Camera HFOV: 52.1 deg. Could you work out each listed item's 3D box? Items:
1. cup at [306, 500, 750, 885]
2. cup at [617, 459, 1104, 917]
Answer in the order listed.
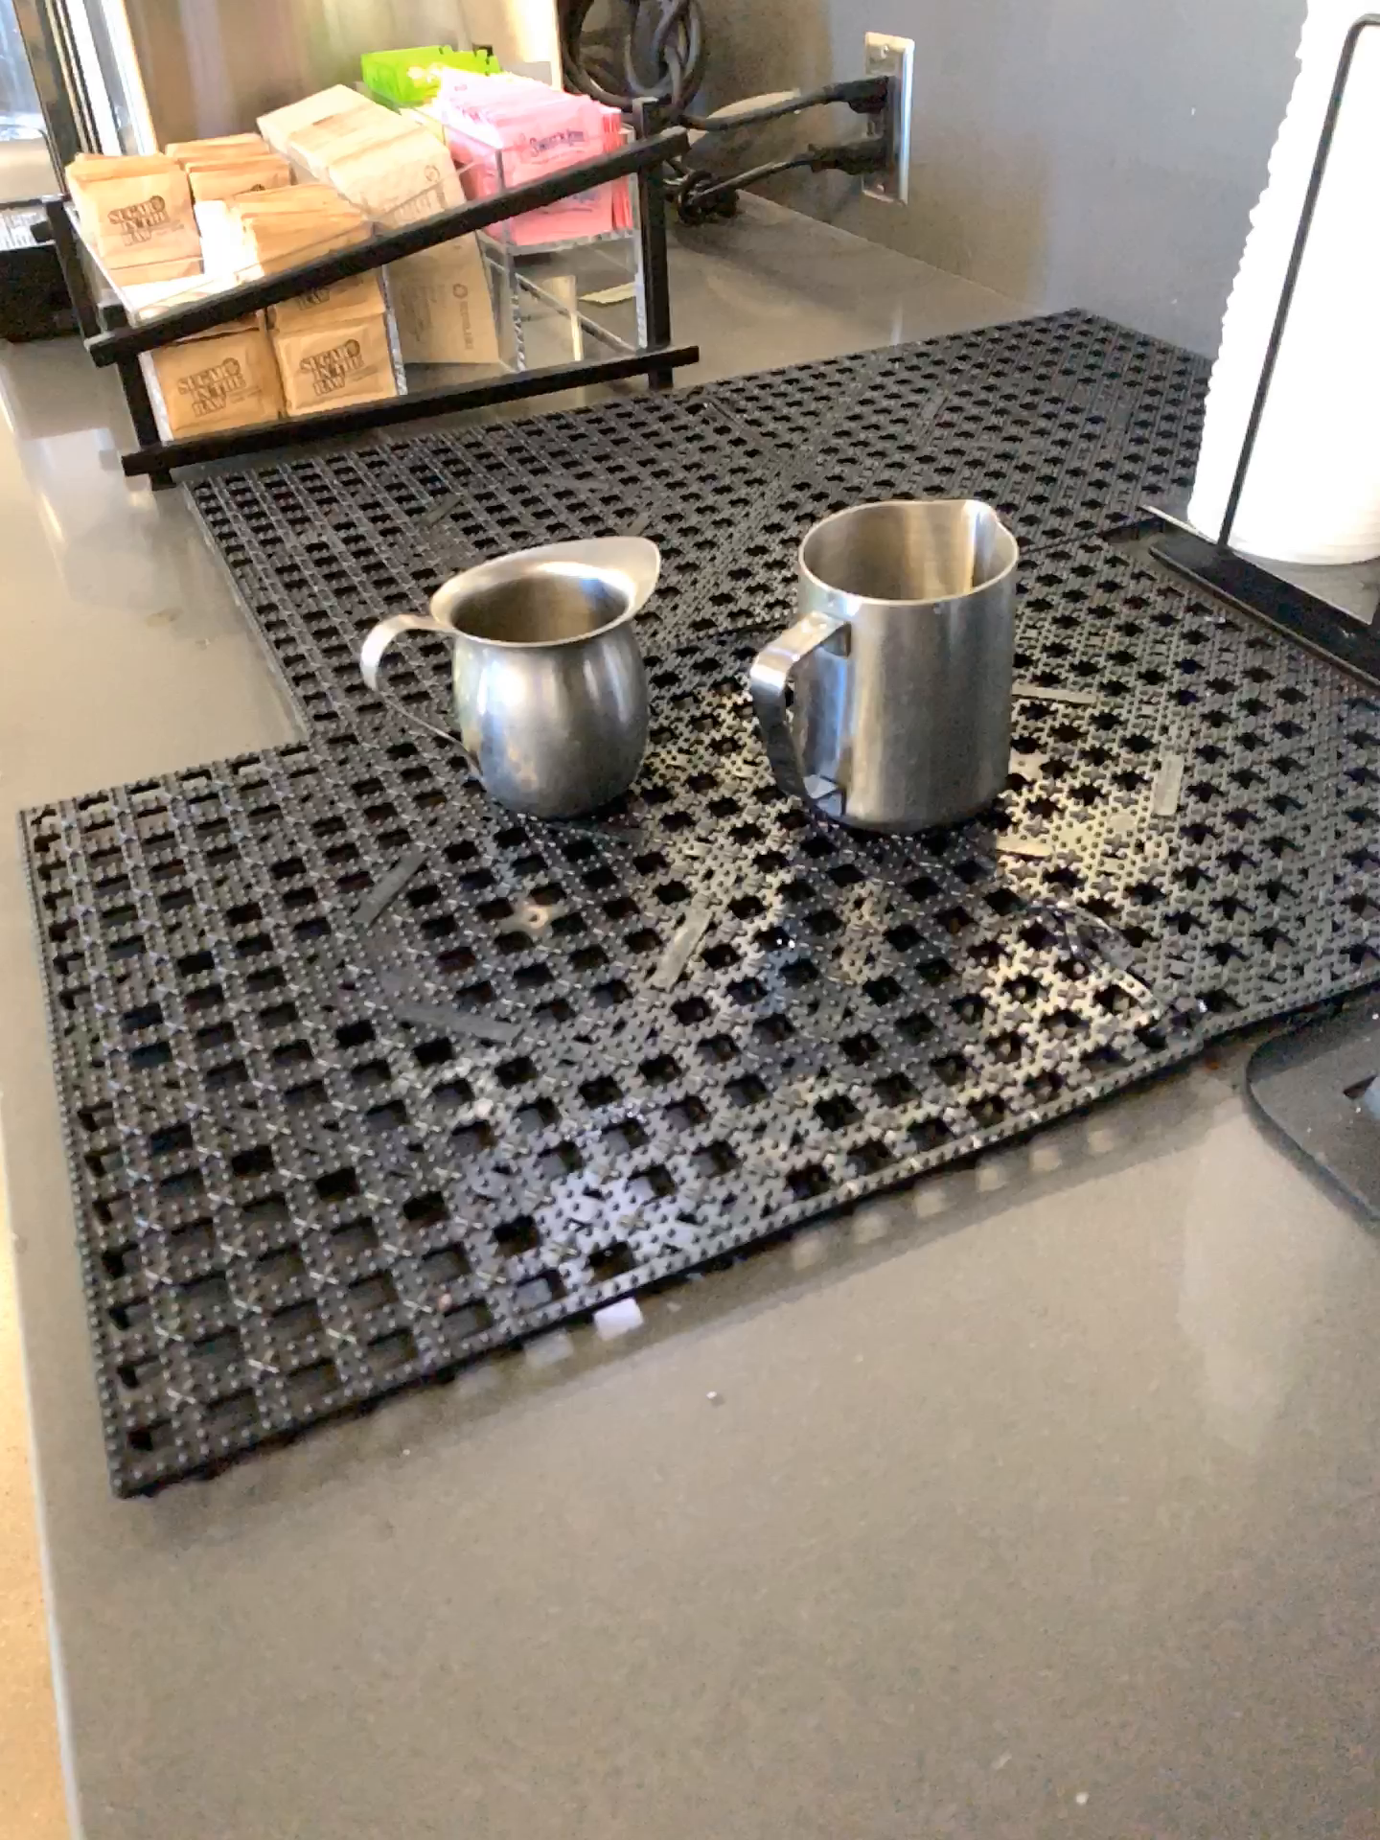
[{"bbox_3d":[-0.051,-0.082,0.482,0.120,0.070,0.080,-29,45,-29],"label":"cup"},{"bbox_3d":[0.052,-0.076,0.433,0.120,0.080,0.080,-30,46,-30],"label":"cup"}]
